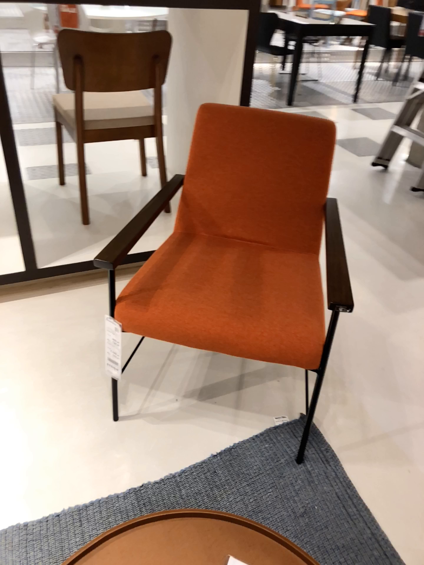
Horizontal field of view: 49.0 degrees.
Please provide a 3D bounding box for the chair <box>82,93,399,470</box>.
[{"bbox_3d":[0.092,-0.041,1.455,0.650,0.824,0.705,10,36,8],"label":"chair"}]
